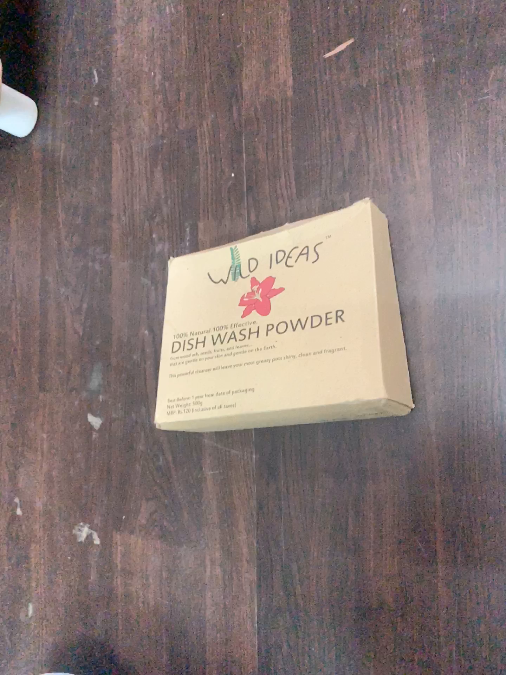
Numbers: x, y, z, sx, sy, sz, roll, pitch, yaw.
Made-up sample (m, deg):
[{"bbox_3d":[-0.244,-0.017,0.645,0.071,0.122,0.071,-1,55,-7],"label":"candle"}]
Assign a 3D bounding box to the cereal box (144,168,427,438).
[{"bbox_3d":[0.018,-0.014,0.374,0.181,0.060,0.150,-11,66,29],"label":"cereal box"}]
